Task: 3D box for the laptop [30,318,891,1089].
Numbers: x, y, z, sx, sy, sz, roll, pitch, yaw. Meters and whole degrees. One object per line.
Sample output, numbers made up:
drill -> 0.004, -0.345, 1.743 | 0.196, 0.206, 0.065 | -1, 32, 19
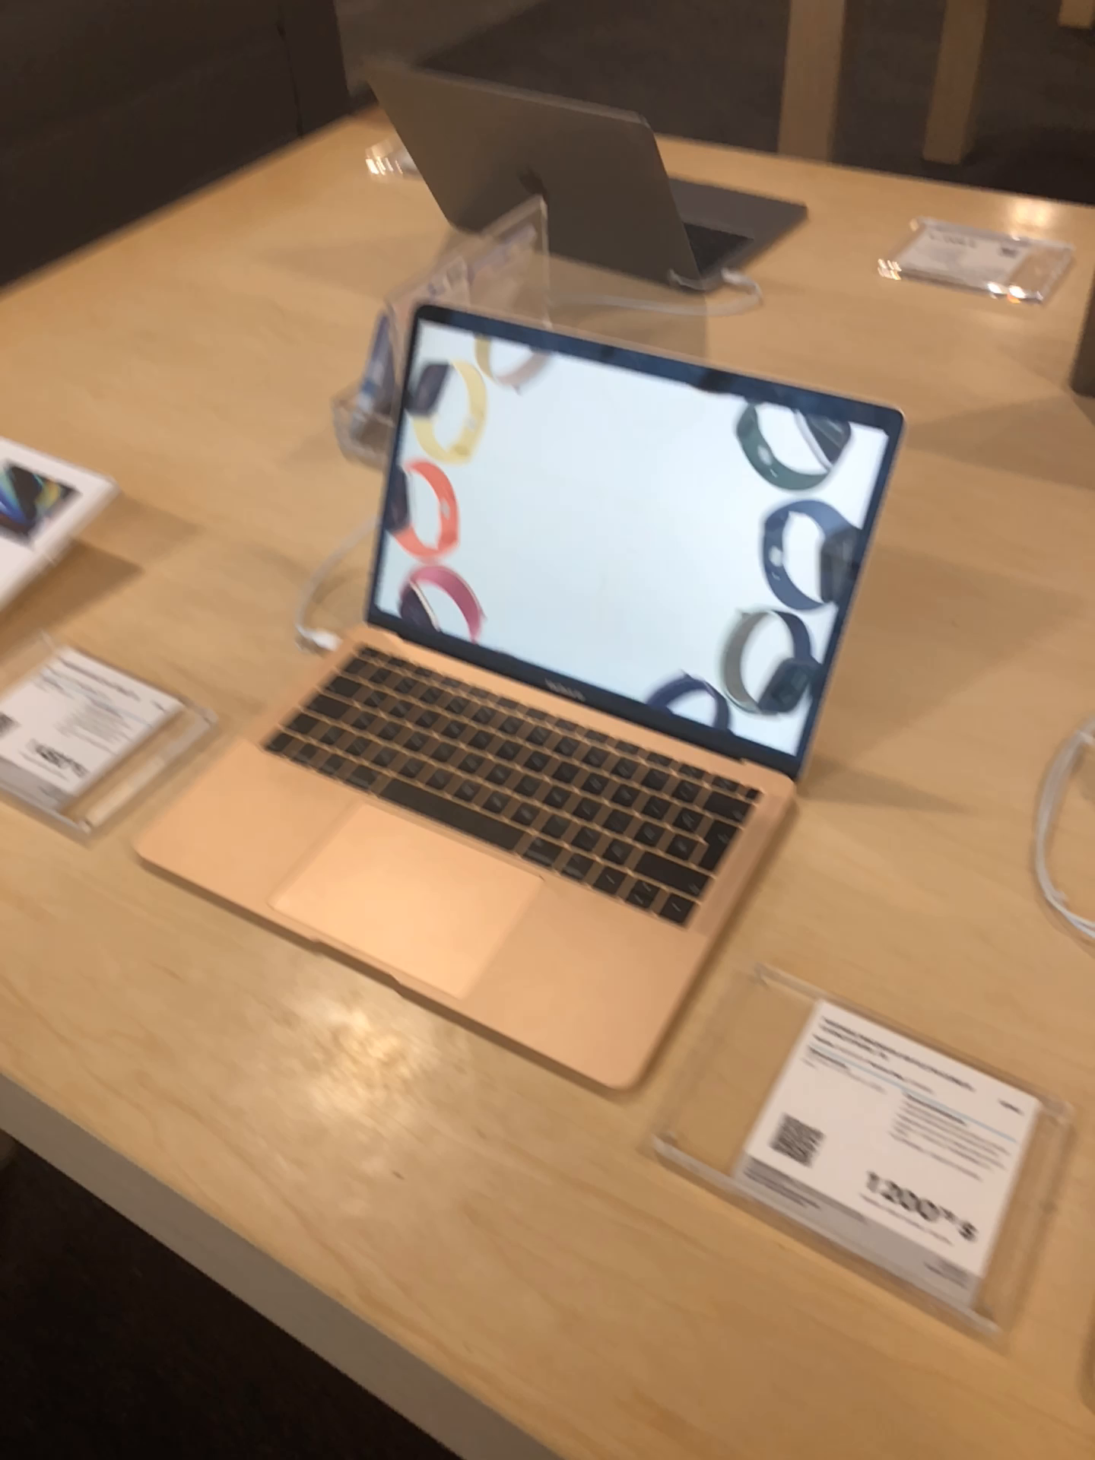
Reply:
laptop -> -0.023, -0.041, 0.619 | 0.289, 0.167, 0.298 | 21, 49, 22
